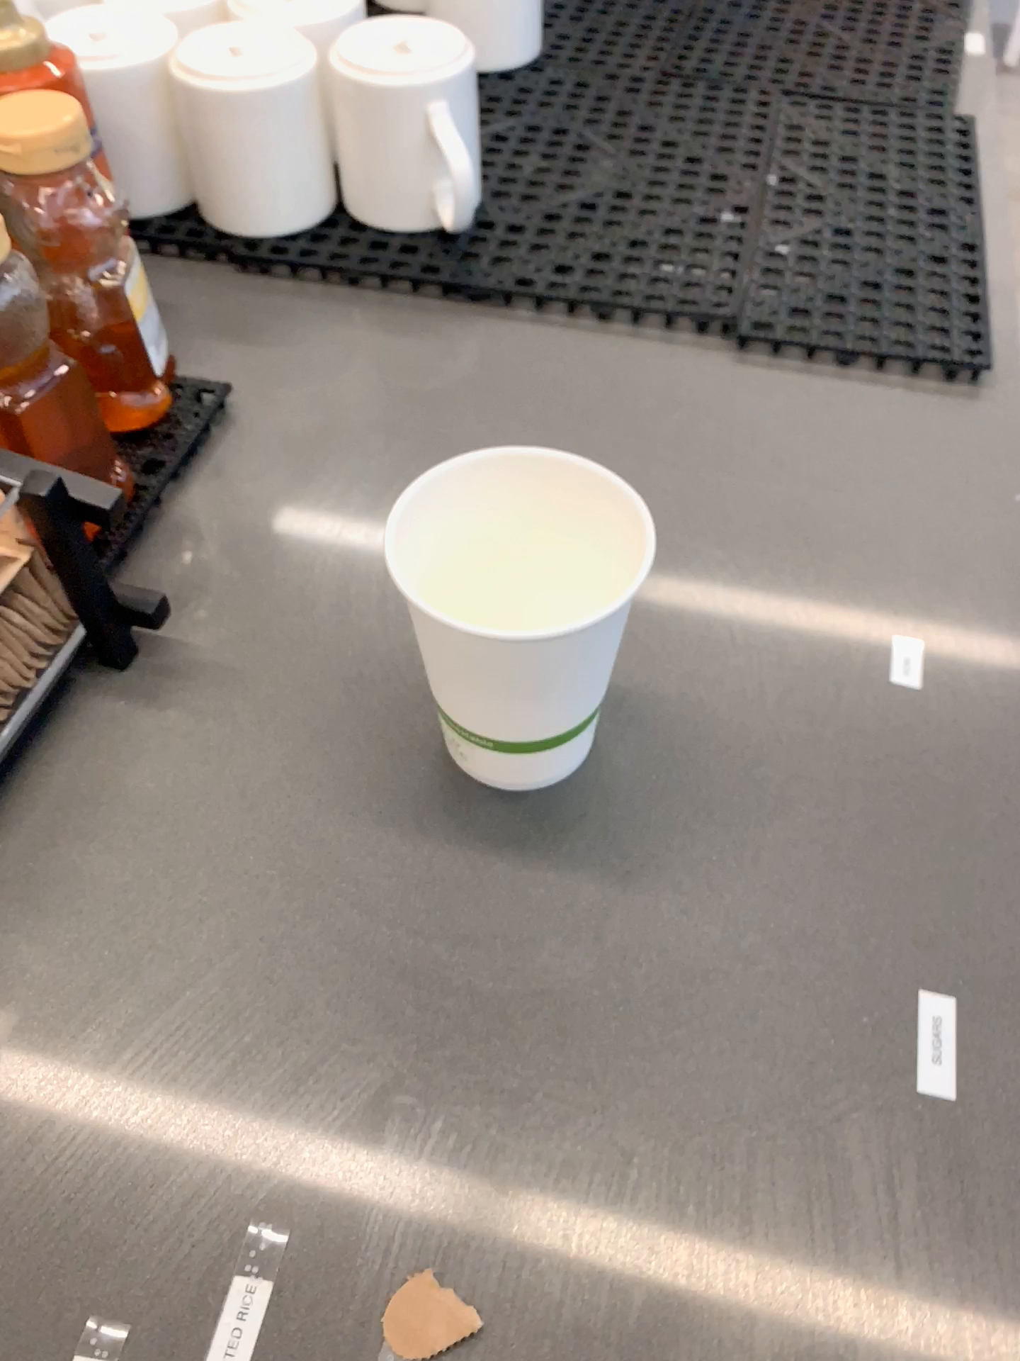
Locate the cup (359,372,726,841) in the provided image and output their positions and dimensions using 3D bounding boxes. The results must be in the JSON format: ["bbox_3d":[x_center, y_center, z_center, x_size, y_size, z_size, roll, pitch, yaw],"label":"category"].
[{"bbox_3d":[0.009,-0.023,0.372,0.080,0.119,0.080,0,52,0],"label":"cup"}]
